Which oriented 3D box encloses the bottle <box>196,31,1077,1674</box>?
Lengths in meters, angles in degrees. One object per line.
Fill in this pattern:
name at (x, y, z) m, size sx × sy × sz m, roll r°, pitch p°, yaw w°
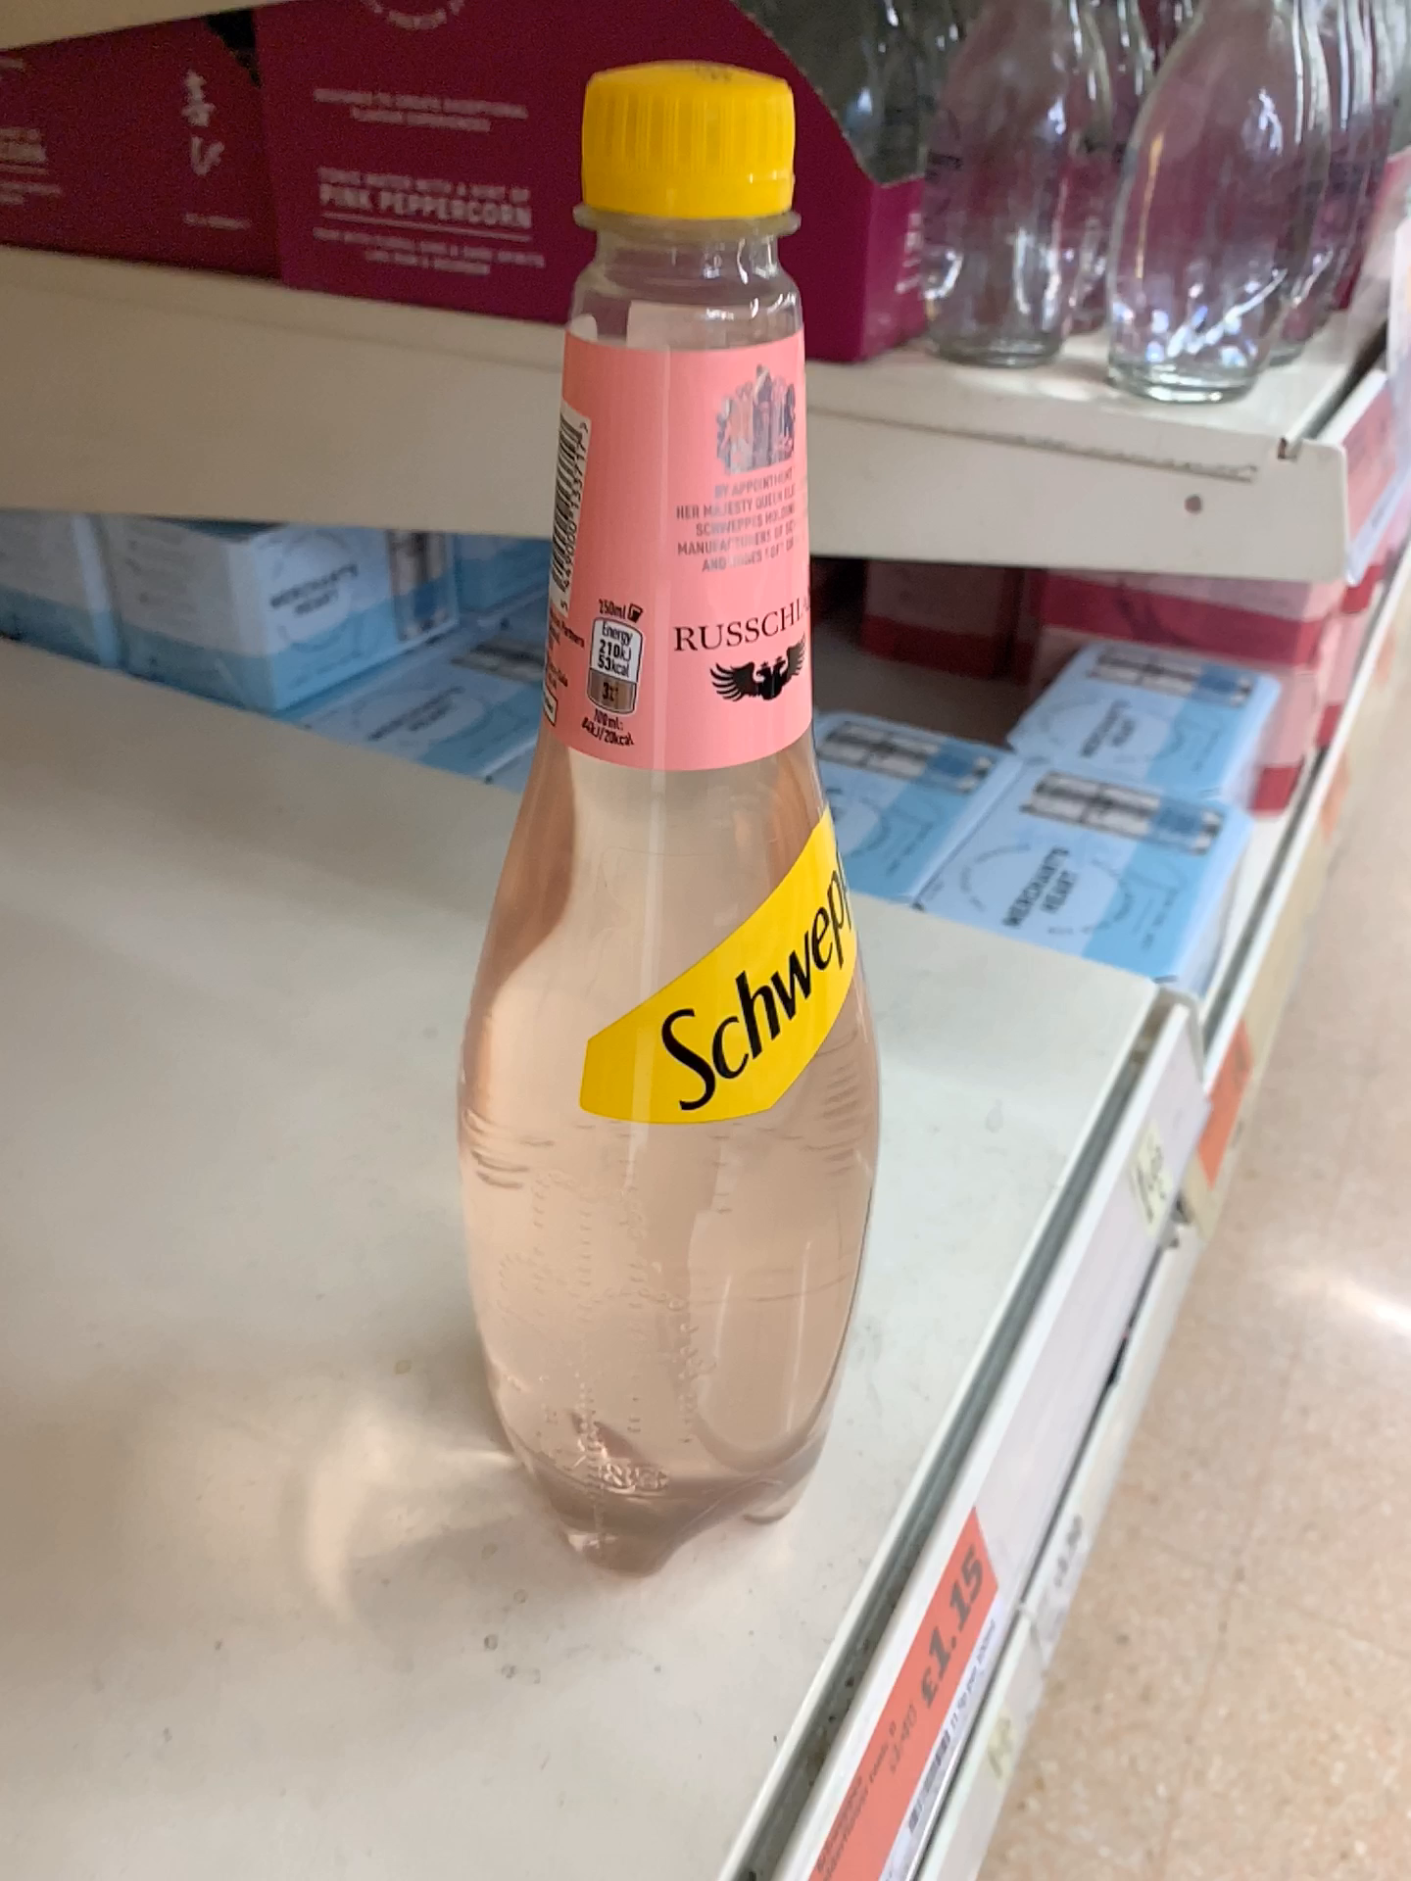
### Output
bottle at (-0.012, 0.001, 0.287) m, size 0.090 × 0.299 × 0.085 m, roll 2°, pitch 34°, yaw -1°
